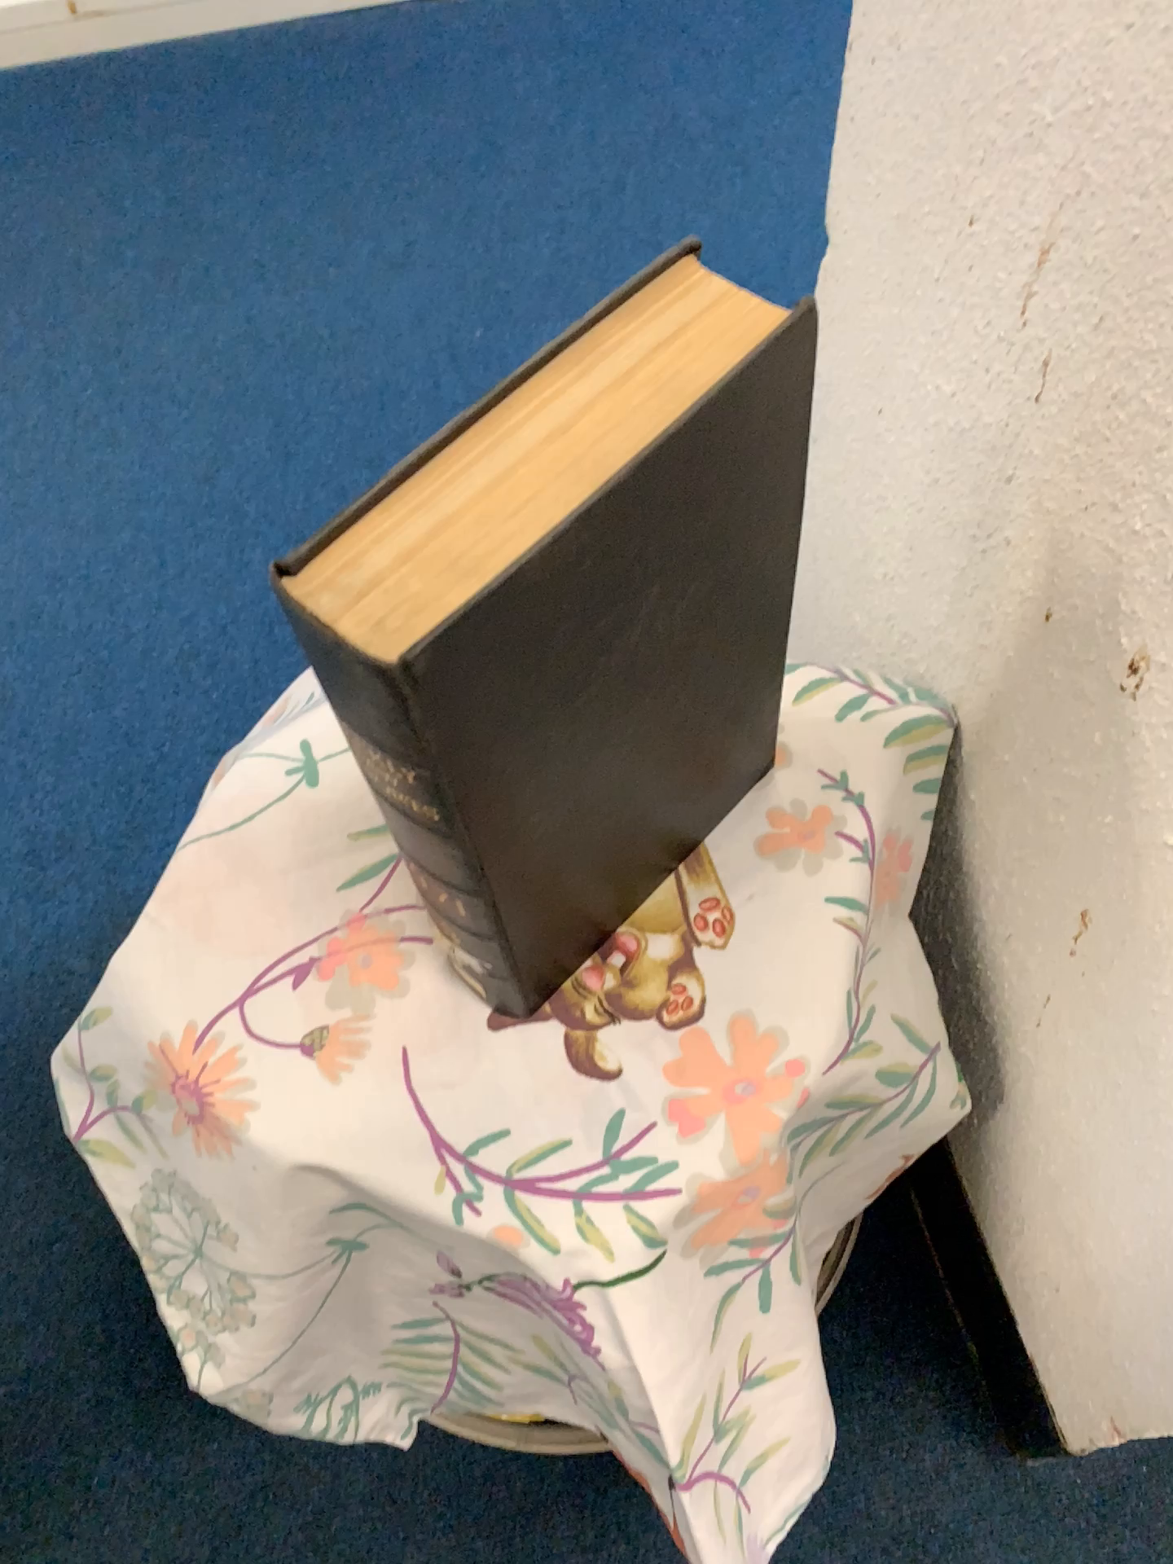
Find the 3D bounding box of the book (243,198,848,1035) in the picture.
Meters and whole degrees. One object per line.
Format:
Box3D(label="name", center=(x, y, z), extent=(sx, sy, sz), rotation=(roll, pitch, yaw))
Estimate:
Box3D(label="book", center=(0.001, -0.032, 0.399), extent=(0.052, 0.245, 0.162), rotation=(37, 68, 22))
